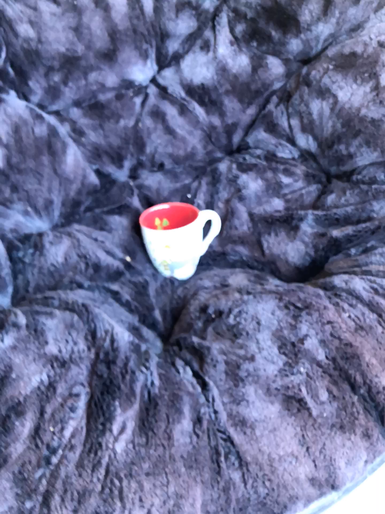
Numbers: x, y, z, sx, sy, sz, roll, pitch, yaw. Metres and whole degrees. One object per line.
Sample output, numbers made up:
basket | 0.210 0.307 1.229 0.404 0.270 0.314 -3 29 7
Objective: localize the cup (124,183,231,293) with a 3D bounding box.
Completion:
cup | -0.021 -0.036 0.732 0.140 0.110 0.100 -25 41 -25
